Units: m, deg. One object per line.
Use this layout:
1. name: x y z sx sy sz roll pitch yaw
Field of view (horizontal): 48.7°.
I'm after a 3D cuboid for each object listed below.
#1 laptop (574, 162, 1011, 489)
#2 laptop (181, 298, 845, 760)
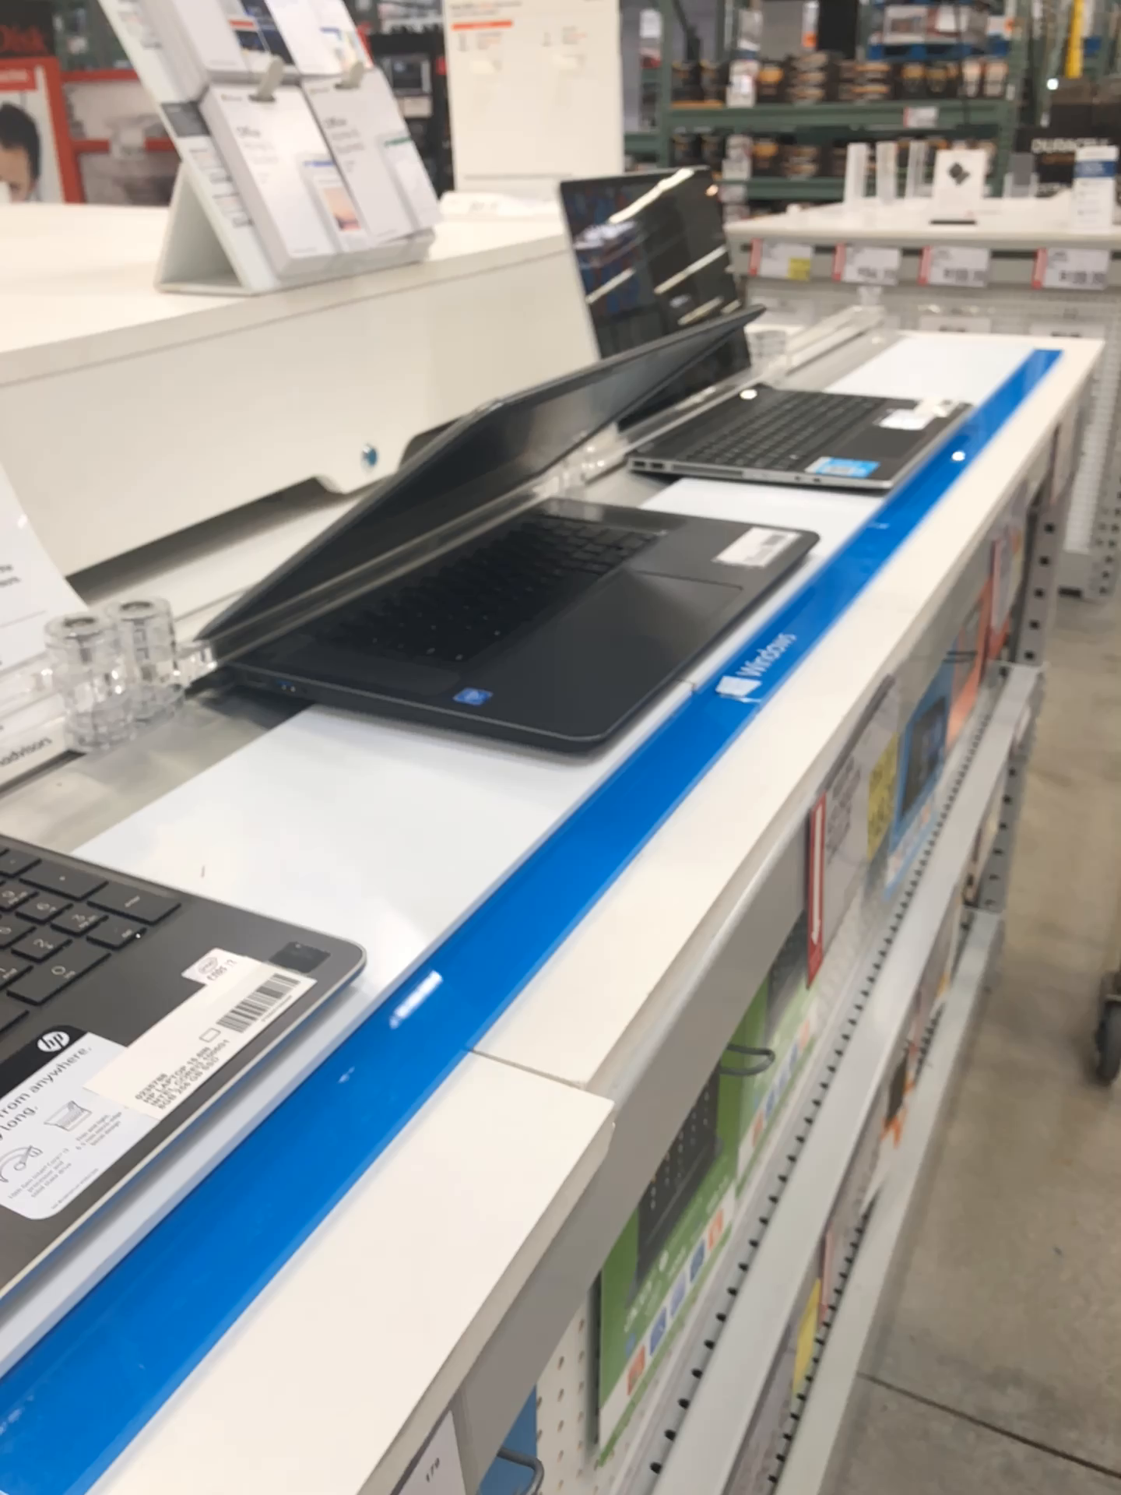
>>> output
1. laptop: 0.212 -0.403 1.126 0.291 0.208 0.318 15 32 28
2. laptop: 0.002 -0.156 0.714 0.219 0.136 0.366 14 30 23
